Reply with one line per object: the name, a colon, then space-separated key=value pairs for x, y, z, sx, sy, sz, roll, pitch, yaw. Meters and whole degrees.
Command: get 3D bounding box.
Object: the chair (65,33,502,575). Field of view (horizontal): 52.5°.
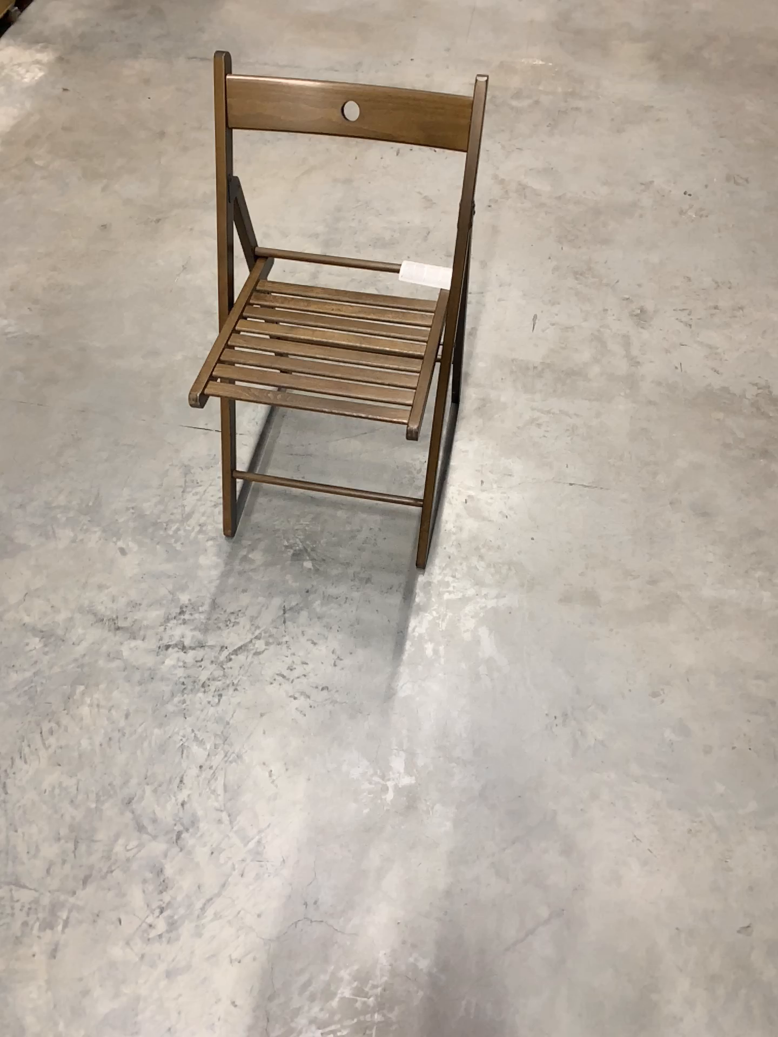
chair: x=-0.110 y=-0.327 z=1.368 sx=0.480 sy=0.698 sz=0.501 roll=9 pitch=58 yaw=7
